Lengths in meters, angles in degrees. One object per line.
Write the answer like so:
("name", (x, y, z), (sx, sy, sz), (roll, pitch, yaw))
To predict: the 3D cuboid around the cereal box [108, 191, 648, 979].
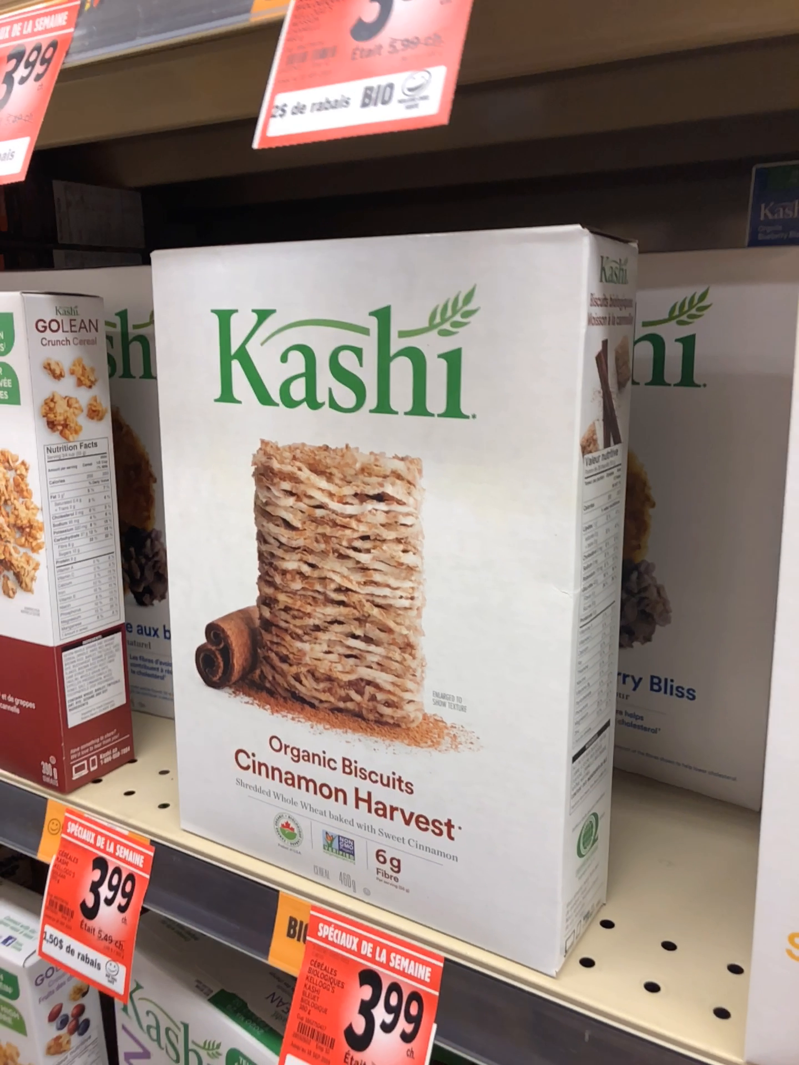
("cereal box", (-0.012, 0.012, 0.368), (0.200, 0.269, 0.070), (7, 17, 32))
